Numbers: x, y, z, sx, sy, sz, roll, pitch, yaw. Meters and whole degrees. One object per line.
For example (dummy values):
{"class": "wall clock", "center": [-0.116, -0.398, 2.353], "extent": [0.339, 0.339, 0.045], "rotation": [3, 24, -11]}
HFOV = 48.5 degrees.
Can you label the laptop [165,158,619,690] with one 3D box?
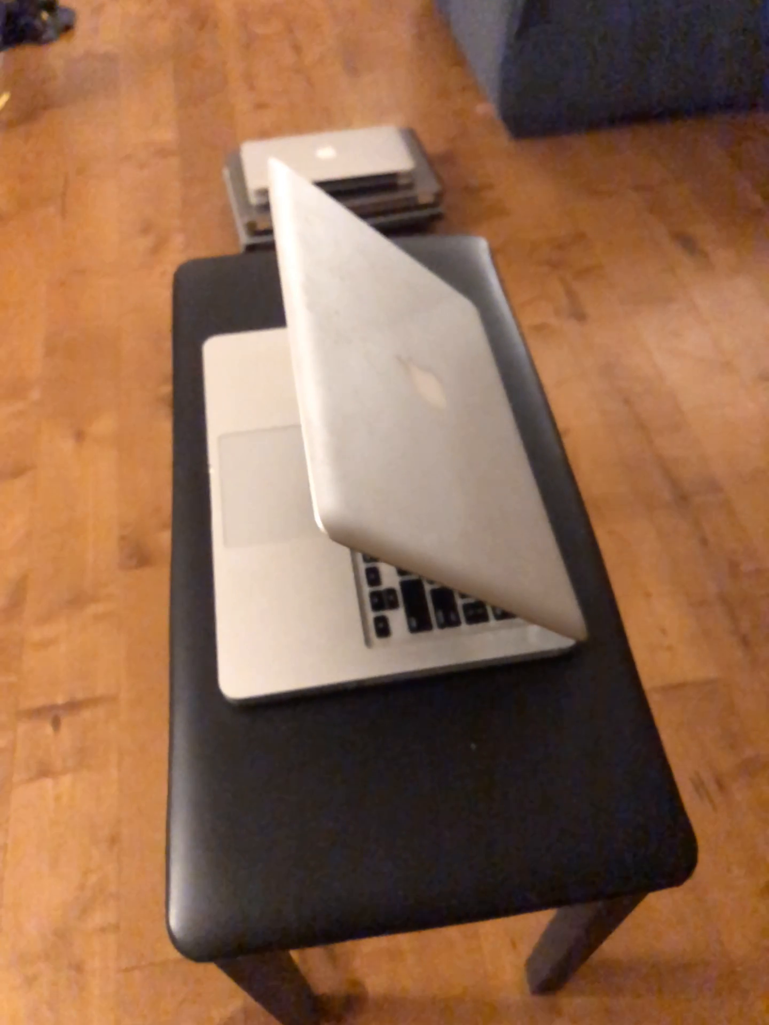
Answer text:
{"class": "laptop", "center": [-0.010, -0.072, 0.546], "extent": [0.208, 0.144, 0.311], "rotation": [-6, 50, -3]}
